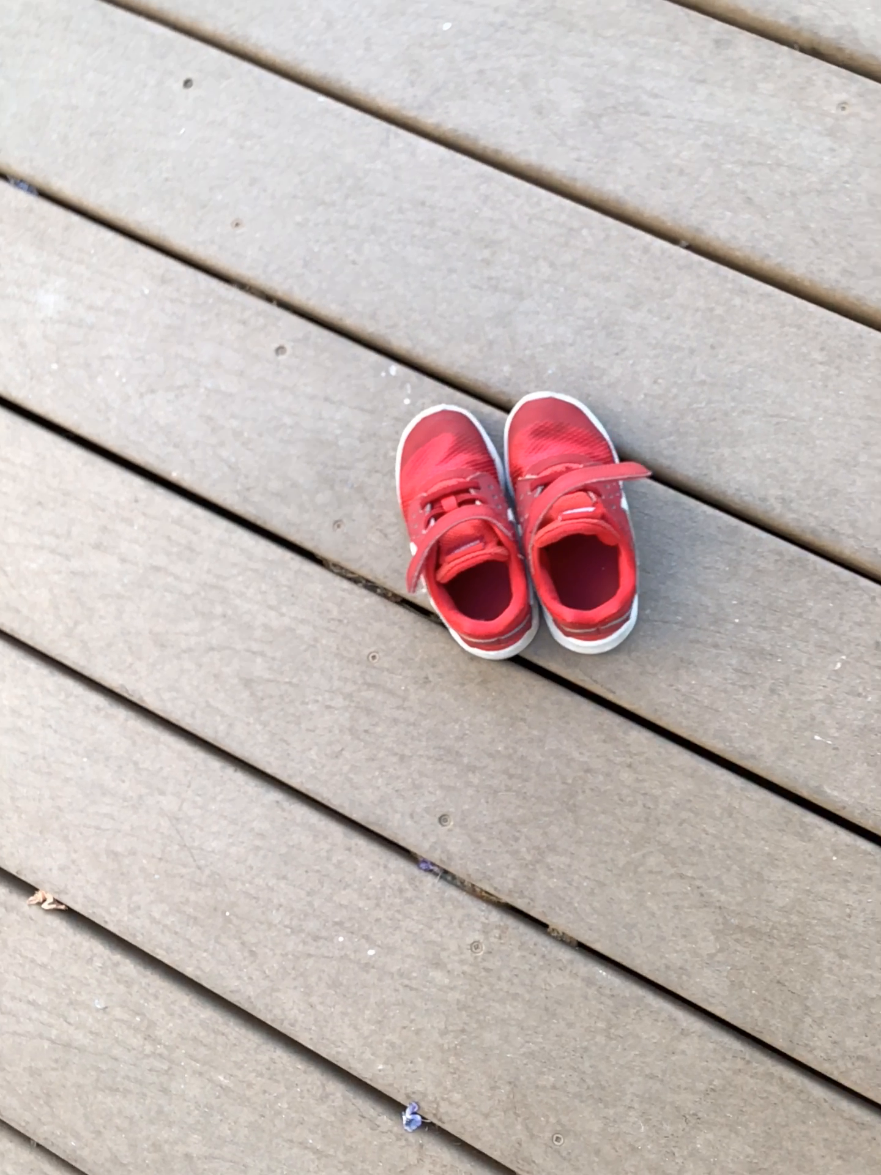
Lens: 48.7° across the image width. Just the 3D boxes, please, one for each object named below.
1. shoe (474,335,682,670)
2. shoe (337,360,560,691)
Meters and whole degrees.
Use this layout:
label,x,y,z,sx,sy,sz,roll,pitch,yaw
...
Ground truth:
label,x,y,z,sx,sy,sz,roll,pitch,yaw
shoe,0.077,-0.043,0.562,0.077,0.087,0.167,-12,85,6
shoe,0.008,-0.032,0.577,0.077,0.087,0.167,-18,84,5
